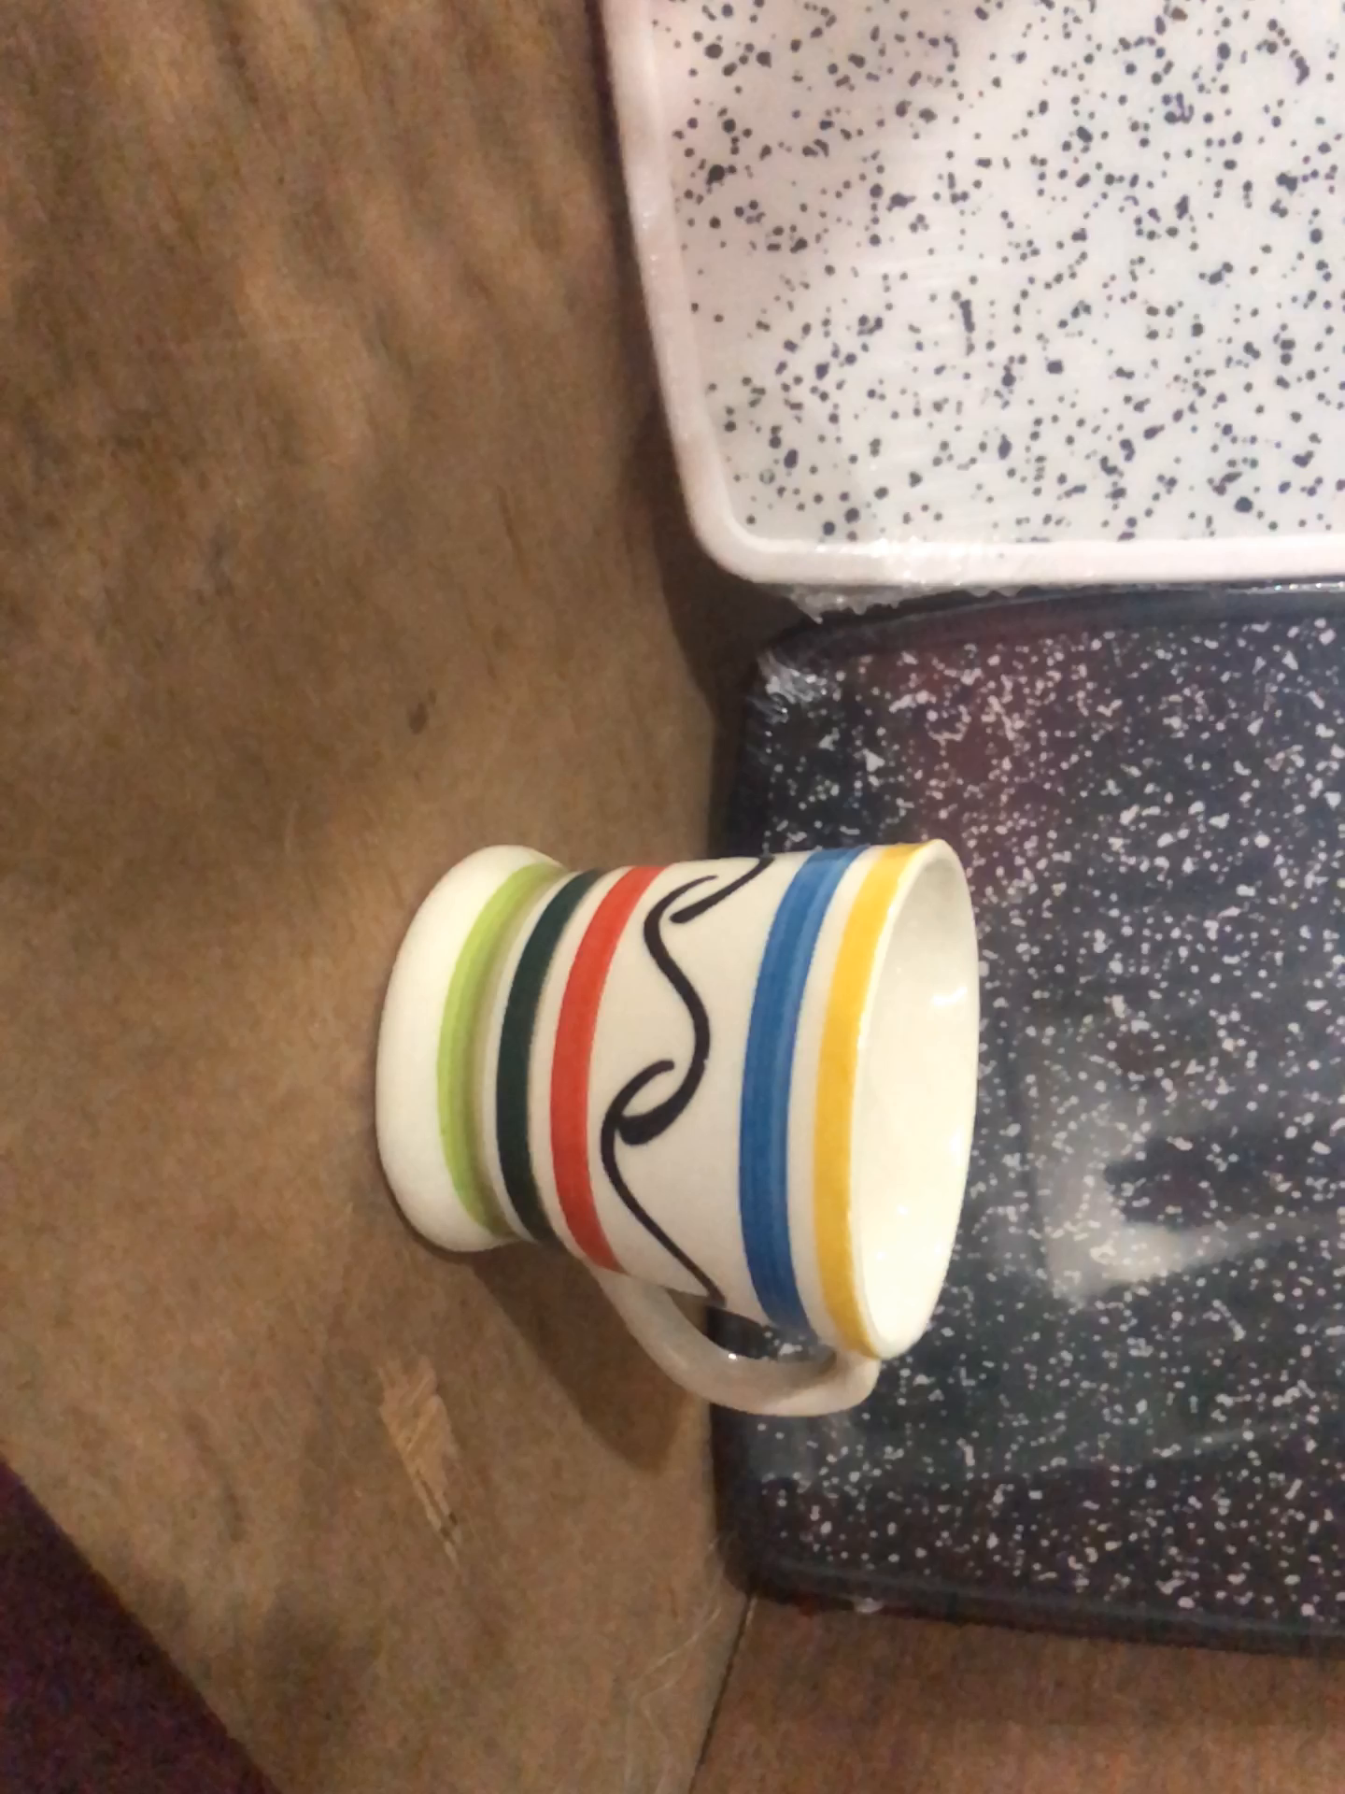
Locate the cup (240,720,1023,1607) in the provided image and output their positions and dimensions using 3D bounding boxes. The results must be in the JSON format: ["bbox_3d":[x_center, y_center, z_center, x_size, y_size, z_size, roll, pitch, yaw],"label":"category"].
[{"bbox_3d":[0.003,0.034,0.216,0.060,0.079,0.100,-53,141,-52],"label":"cup"}]
